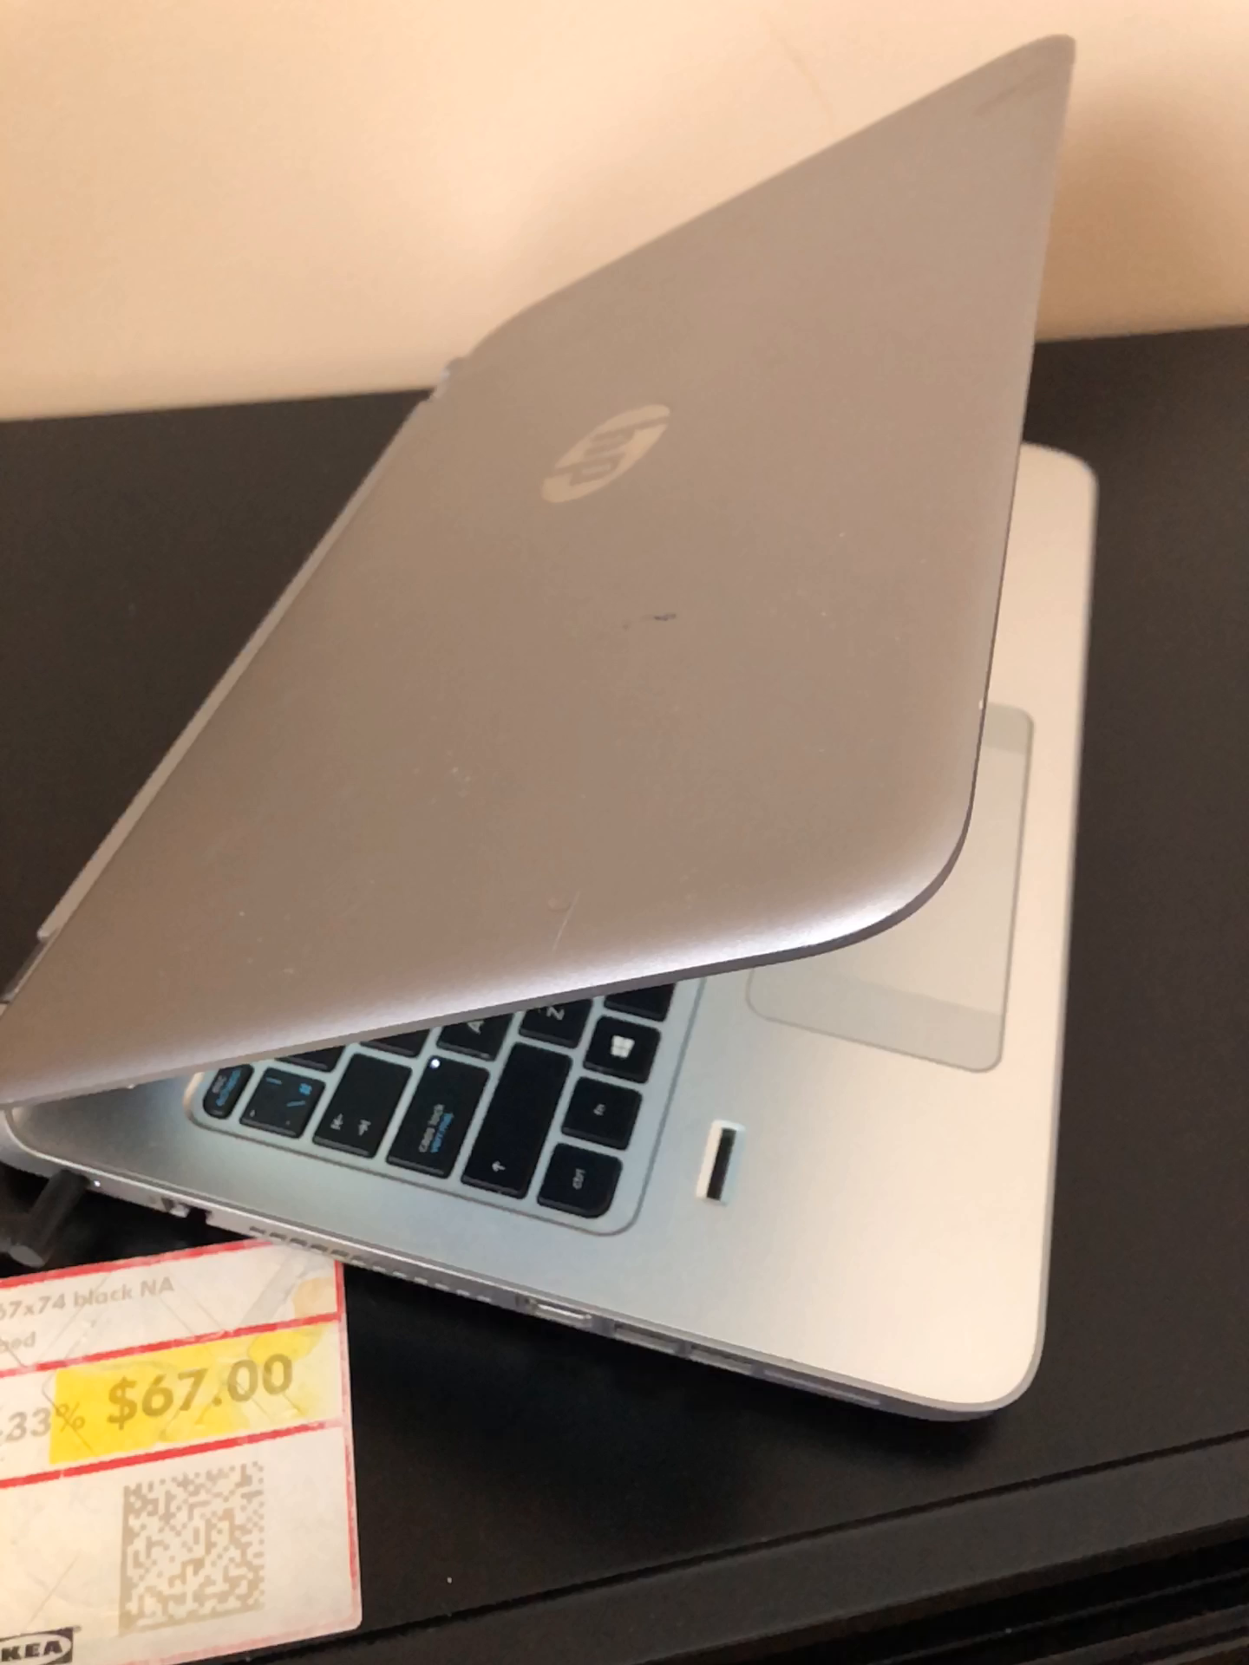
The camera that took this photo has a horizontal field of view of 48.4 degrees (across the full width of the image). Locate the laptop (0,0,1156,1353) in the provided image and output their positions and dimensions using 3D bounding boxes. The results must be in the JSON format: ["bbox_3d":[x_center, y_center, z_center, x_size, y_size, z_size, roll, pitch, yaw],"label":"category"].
[{"bbox_3d":[0.002,-0.086,0.374,0.227,0.153,0.357,11,48,8],"label":"laptop"}]
